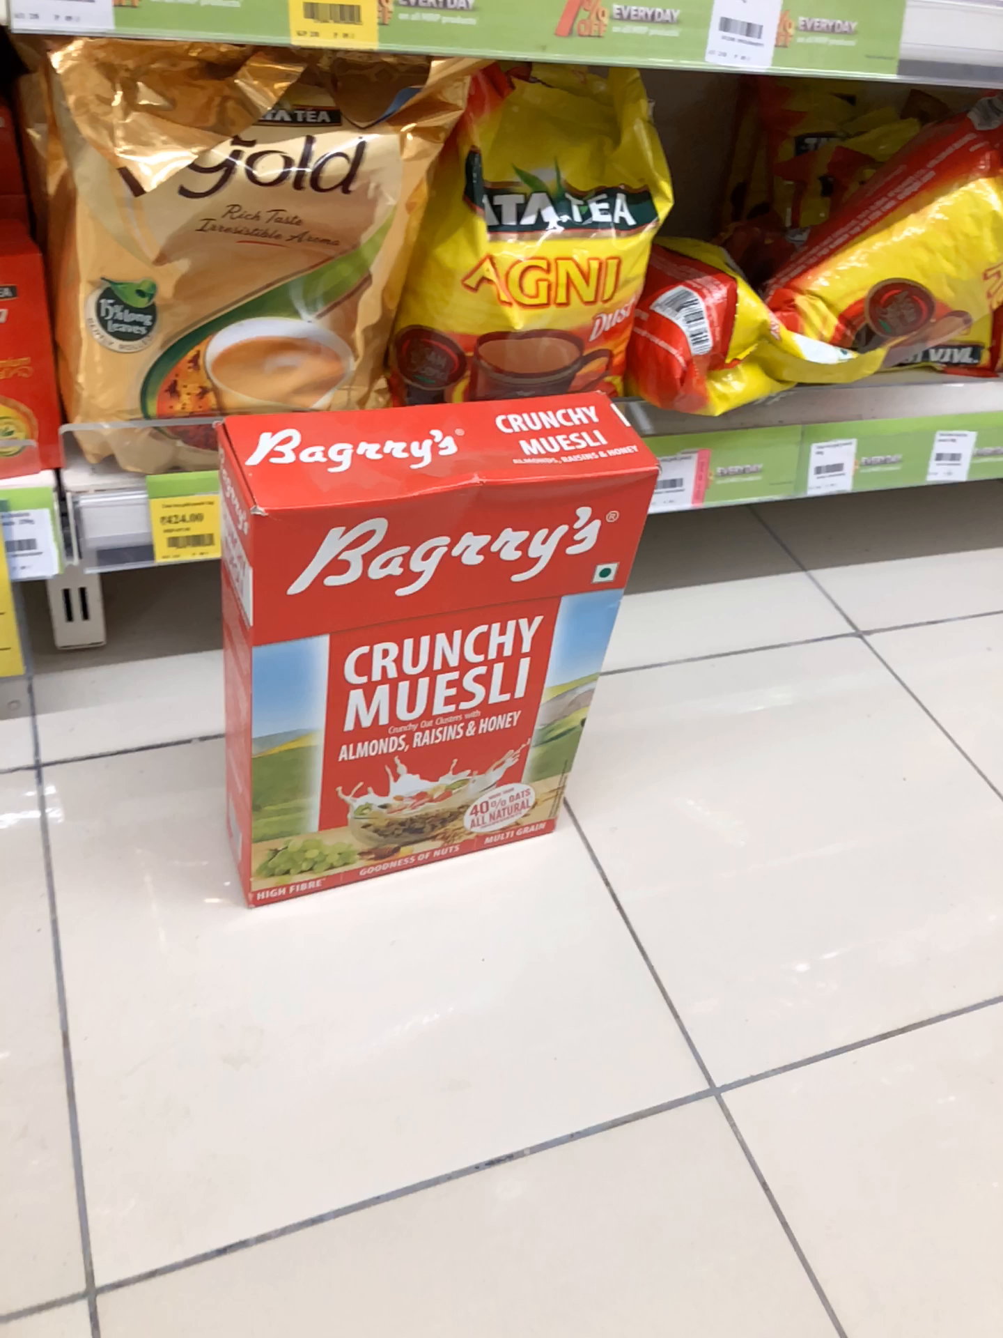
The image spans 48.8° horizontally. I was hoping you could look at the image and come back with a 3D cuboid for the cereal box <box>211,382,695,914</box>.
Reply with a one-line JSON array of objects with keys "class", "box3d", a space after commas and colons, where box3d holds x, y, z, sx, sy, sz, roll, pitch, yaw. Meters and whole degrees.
[{"class": "cereal box", "box3d": [-0.038, -0.003, 0.572, 0.201, 0.268, 0.070, -10, 47, -22]}]
